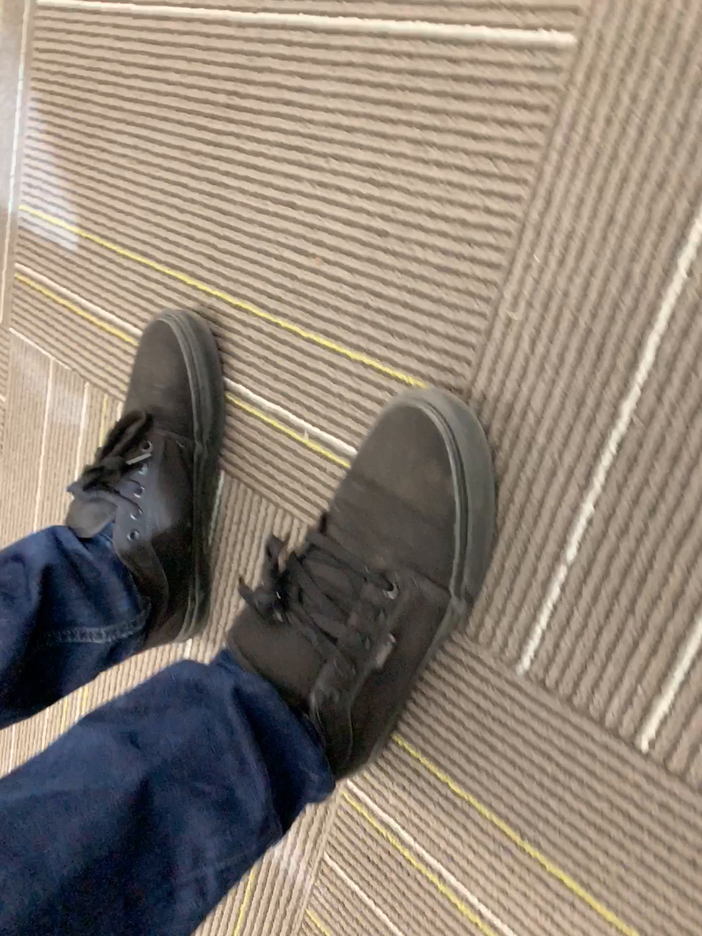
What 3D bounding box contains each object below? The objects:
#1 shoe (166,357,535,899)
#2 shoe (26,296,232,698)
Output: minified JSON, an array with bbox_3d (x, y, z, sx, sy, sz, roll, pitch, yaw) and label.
[{"bbox_3d":[-0.011,0.090,0.440,0.110,0.112,0.292,31,115,35],"label":"shoe"},{"bbox_3d":[-0.181,0.014,0.587,0.110,0.112,0.291,13,104,41],"label":"shoe"}]
